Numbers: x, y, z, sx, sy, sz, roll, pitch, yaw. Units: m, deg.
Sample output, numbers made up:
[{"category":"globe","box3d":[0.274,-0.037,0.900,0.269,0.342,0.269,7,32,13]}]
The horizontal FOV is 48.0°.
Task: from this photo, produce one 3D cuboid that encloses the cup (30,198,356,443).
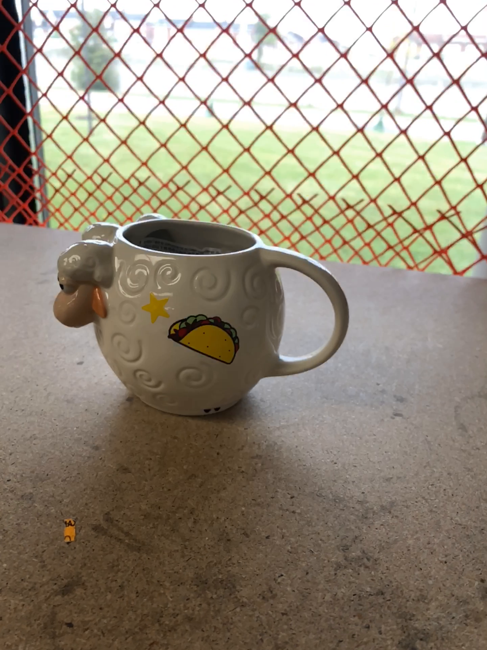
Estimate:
[{"category":"cup","box3d":[-0.021,-0.009,0.292,0.146,0.090,0.076,7,24,10]}]
